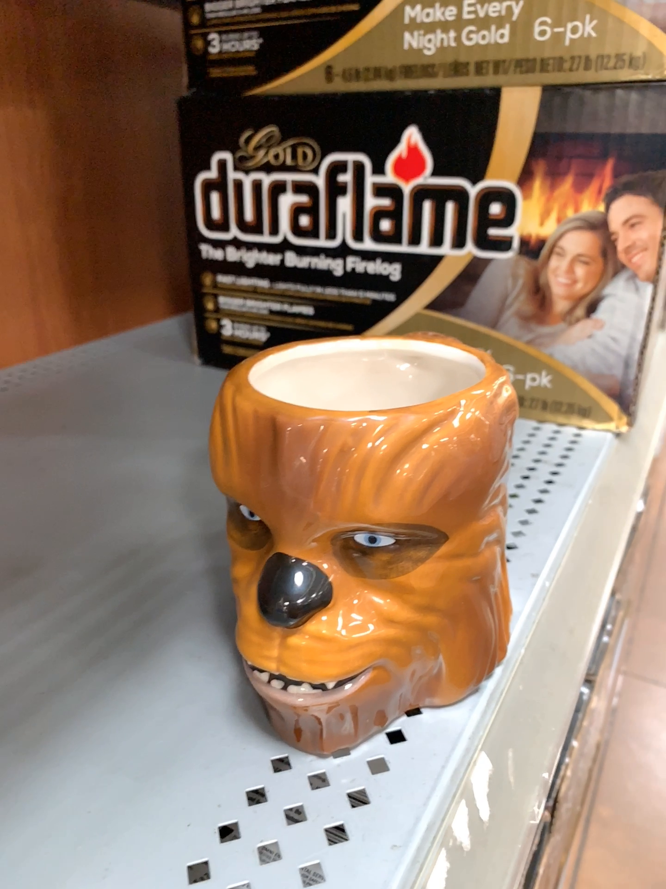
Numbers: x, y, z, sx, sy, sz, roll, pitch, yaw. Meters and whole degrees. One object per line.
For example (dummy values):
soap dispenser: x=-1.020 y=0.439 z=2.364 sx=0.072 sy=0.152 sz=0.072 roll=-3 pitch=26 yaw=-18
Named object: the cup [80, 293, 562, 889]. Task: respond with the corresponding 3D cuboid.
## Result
cup: x=0.007 y=0.032 z=0.245 sx=0.098 sy=0.138 sz=0.132 roll=12 pitch=26 yaw=27
